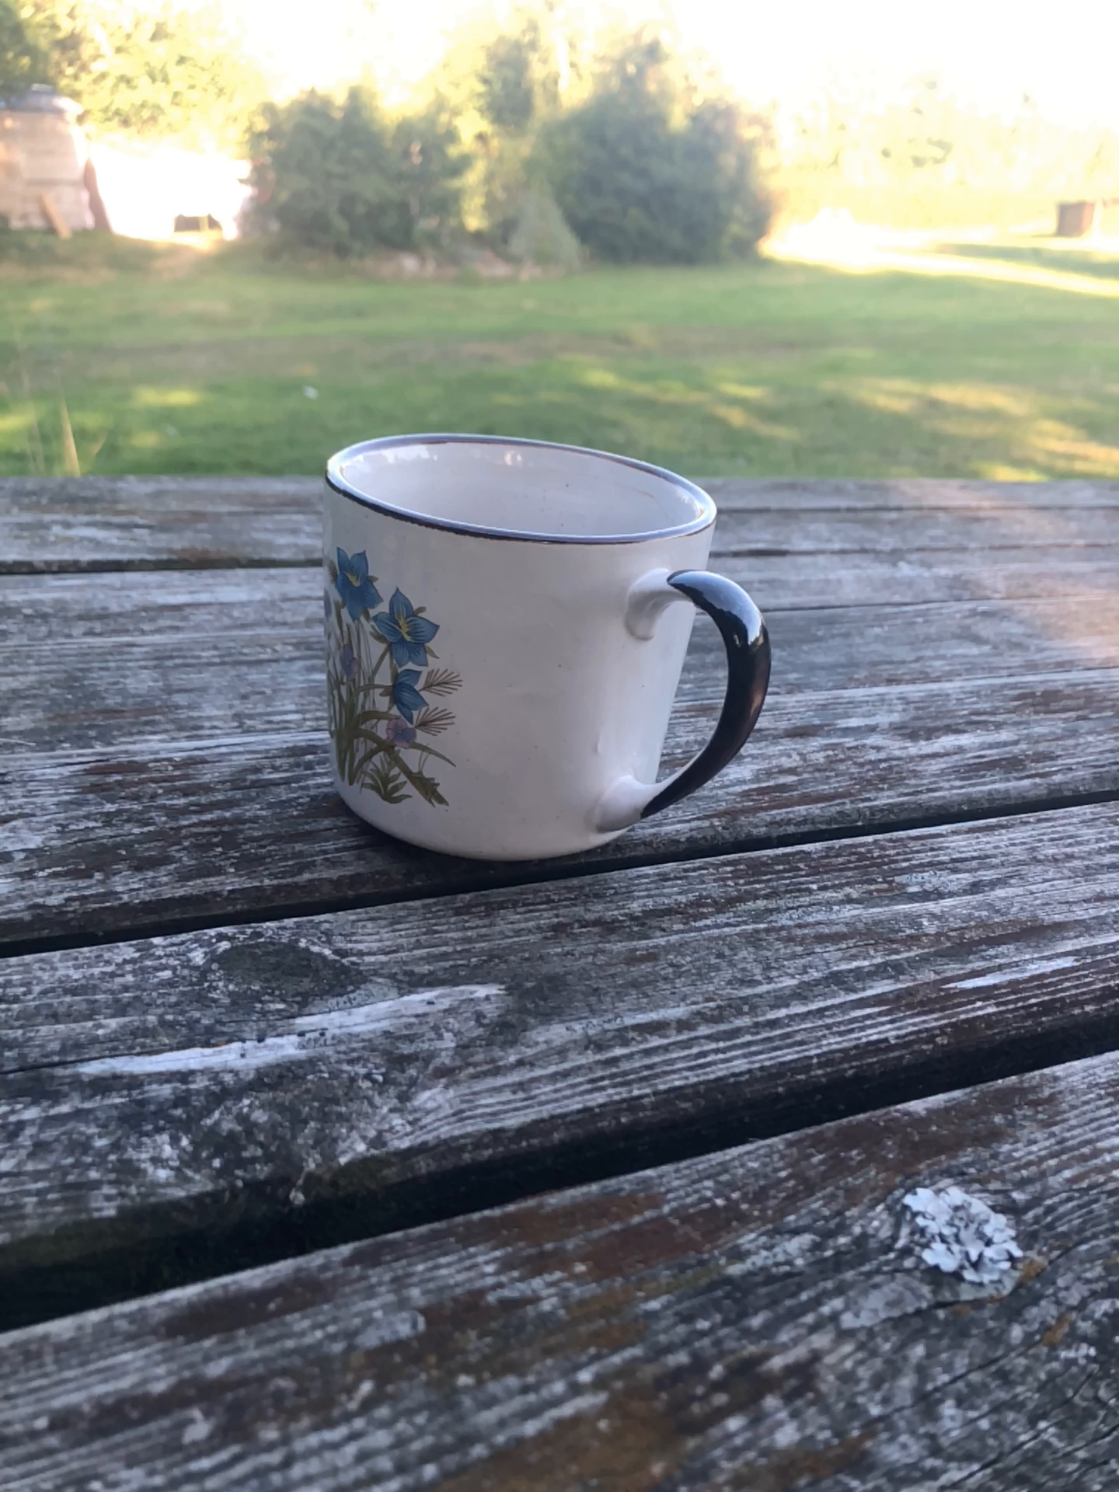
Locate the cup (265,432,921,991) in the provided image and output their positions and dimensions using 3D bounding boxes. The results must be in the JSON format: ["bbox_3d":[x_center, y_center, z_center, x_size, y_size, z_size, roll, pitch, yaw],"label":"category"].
[{"bbox_3d":[0.002,-0.019,0.275,0.087,0.078,0.108,-16,31,-42],"label":"cup"}]
